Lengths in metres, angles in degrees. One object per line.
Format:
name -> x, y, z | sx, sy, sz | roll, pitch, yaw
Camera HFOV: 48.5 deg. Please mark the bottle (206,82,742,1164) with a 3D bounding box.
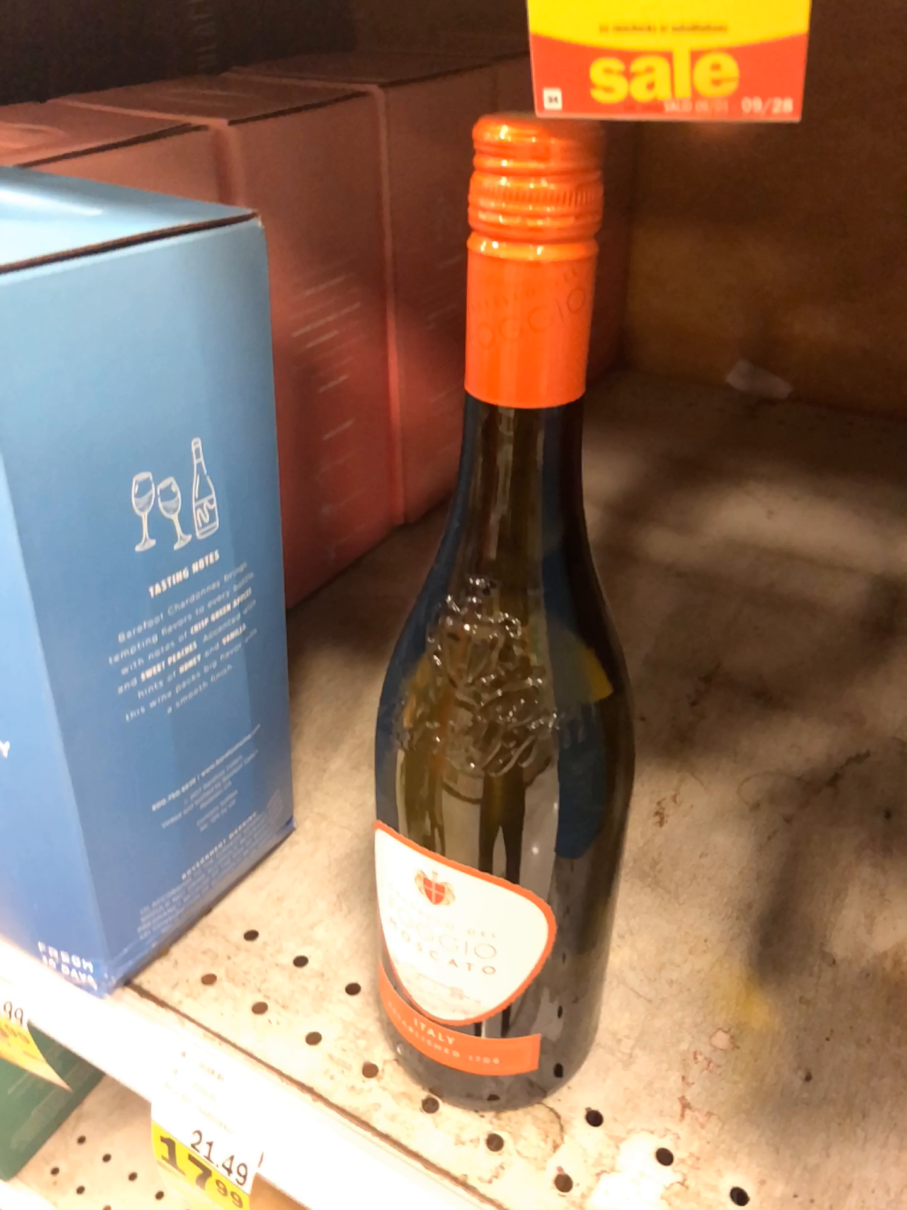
bottle -> 0.010, 0.029, 0.279 | 0.080, 0.299, 0.070 | 16, 39, 23
